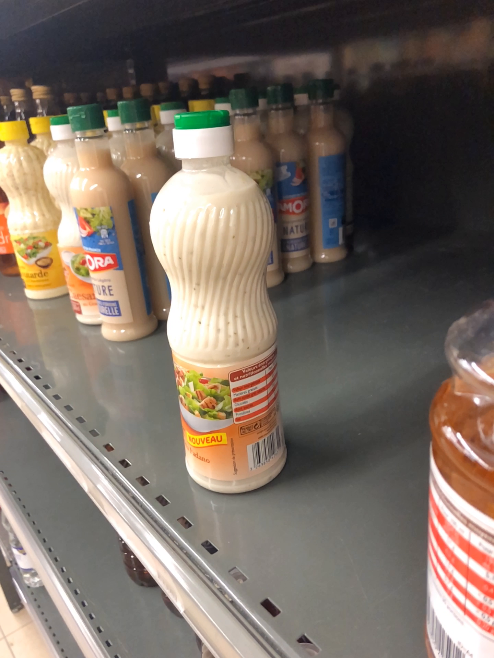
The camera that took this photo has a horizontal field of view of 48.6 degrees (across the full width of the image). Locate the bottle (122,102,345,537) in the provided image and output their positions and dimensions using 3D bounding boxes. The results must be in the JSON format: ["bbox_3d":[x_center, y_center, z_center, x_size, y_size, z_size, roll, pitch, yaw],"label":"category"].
[{"bbox_3d":[-0.001,-0.007,0.326,0.080,0.229,0.080,-5,22,2],"label":"bottle"}]
